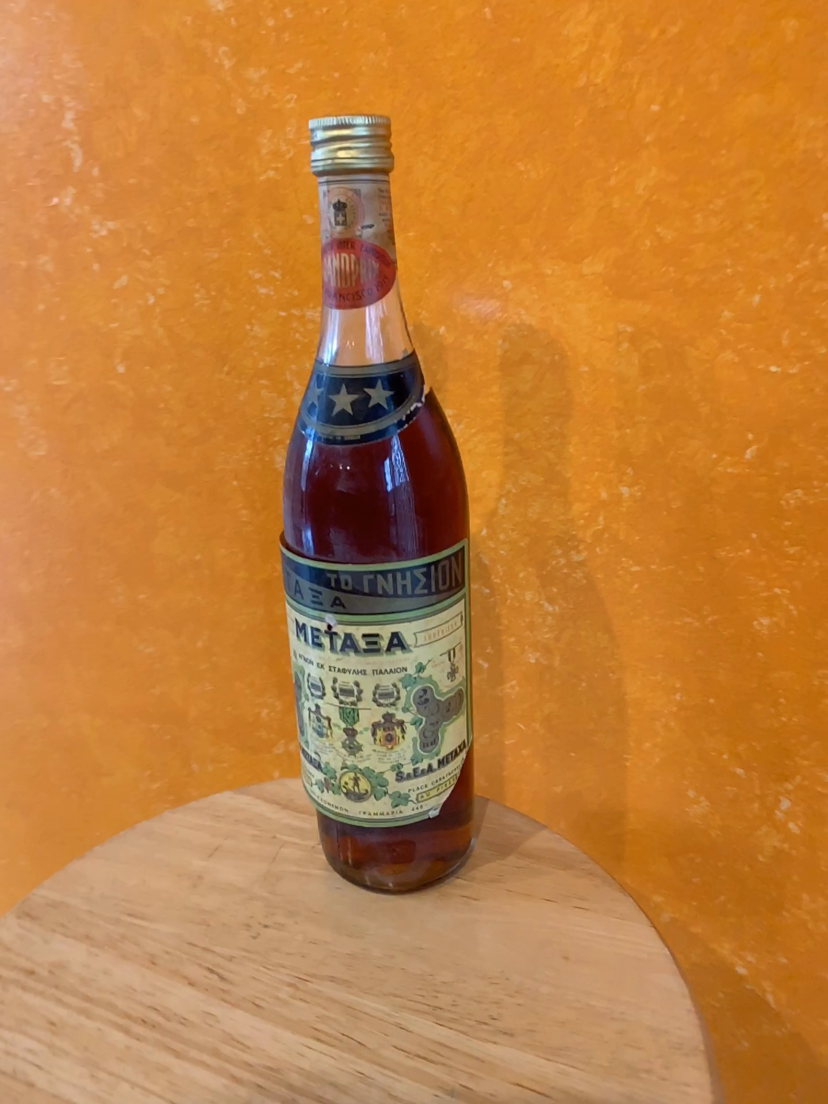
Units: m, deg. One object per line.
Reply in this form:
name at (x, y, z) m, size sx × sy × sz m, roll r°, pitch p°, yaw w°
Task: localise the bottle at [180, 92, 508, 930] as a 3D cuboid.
bottle at (-0.014, -0.004, 0.331) m, size 0.080 × 0.298 × 0.070 m, roll 8°, pitch 25°, yaw 24°
